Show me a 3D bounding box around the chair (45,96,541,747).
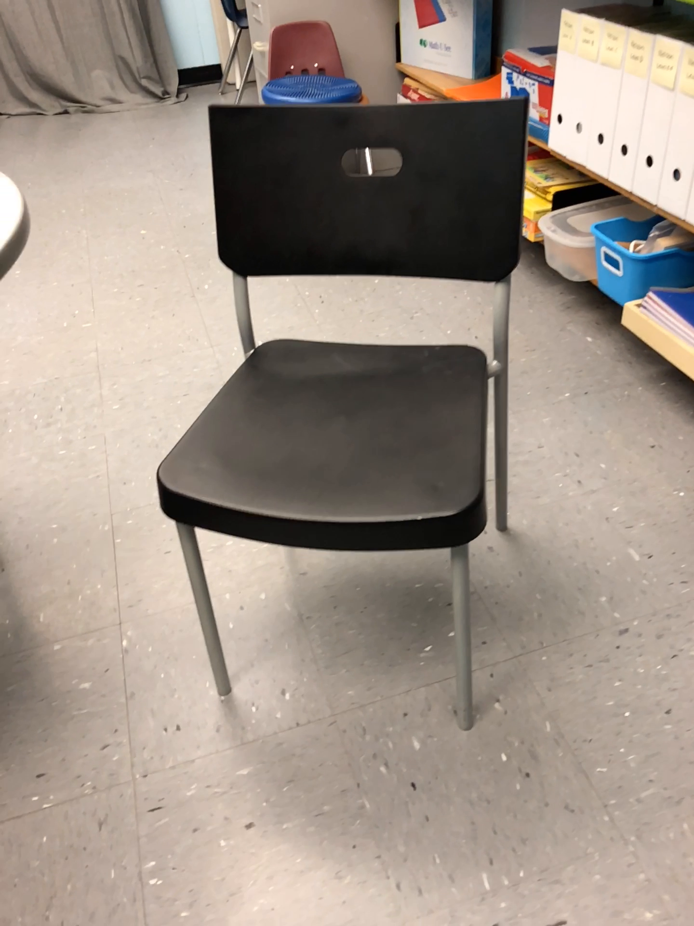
[{"bbox_3d":[0.012,-0.050,1.110,0.466,0.776,0.475,4,39,13],"label":"chair"}]
